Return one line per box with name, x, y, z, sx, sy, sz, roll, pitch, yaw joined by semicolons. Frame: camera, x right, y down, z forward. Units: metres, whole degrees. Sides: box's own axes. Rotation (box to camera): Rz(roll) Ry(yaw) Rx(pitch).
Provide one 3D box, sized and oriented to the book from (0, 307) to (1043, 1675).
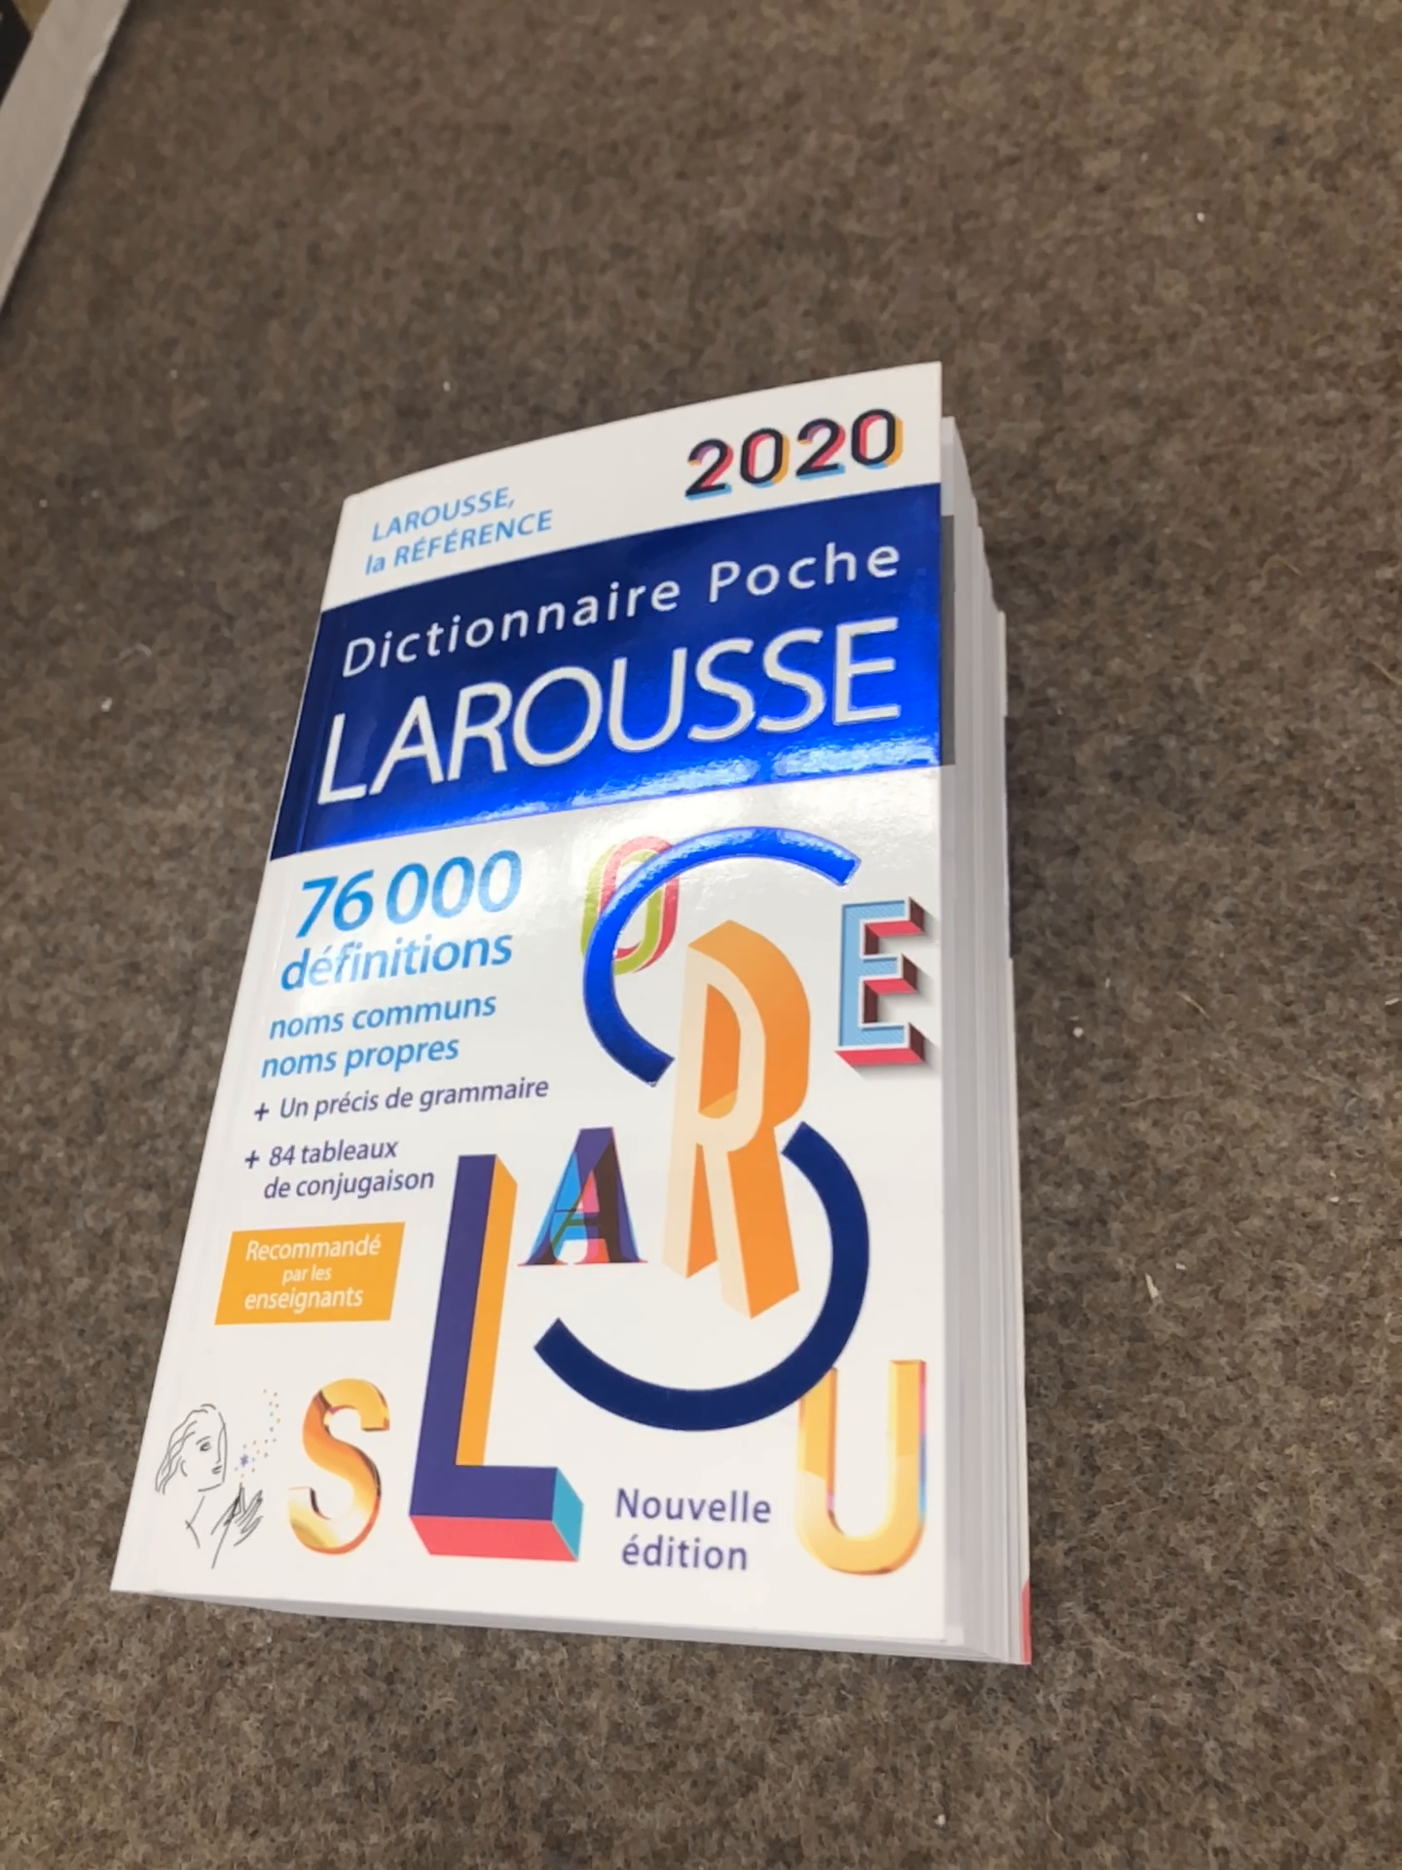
book;-0.014;0.005;0.235;0.116;0.060;0.184;-4;63;14
